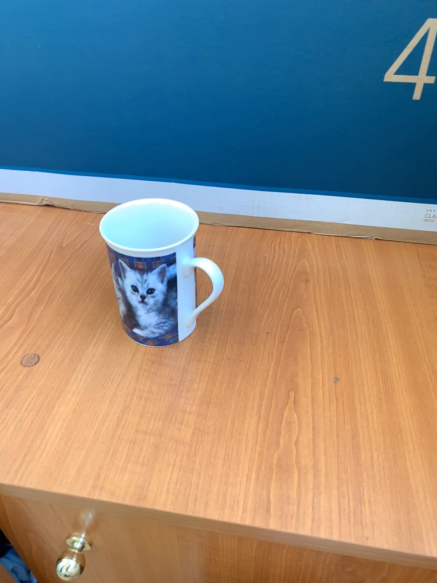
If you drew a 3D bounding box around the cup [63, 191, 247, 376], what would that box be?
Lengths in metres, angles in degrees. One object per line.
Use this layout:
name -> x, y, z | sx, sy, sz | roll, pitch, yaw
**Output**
cup -> -0.043, -0.009, 0.360 | 0.110, 0.100, 0.080 | 13, 41, 16
